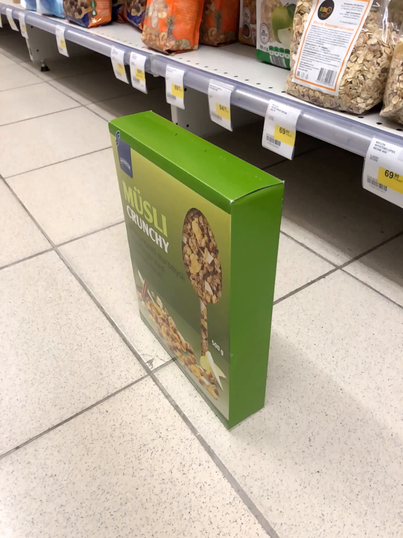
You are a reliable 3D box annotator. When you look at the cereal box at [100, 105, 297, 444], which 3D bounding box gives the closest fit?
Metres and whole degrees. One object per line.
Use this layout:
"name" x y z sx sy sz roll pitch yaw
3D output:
"cereal box" -0.011 0.003 0.414 0.050 0.249 0.201 -22 42 -25
